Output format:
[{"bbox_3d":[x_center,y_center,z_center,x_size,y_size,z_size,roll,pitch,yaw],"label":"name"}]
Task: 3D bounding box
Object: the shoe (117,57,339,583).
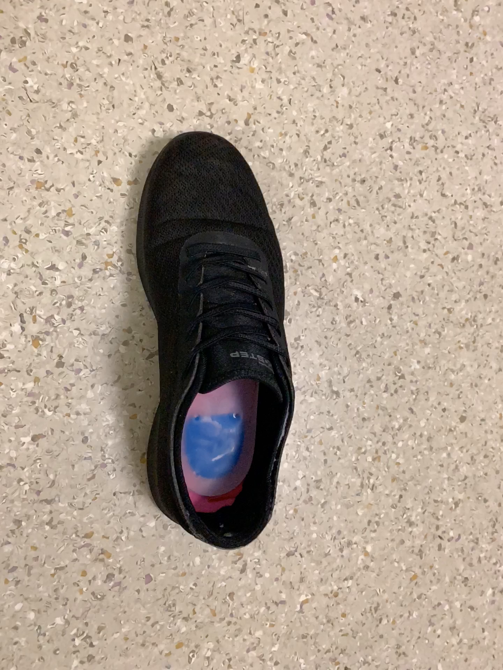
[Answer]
[{"bbox_3d":[-0.021,-0.007,0.339,0.104,0.100,0.279,4,89,-21],"label":"shoe"}]
